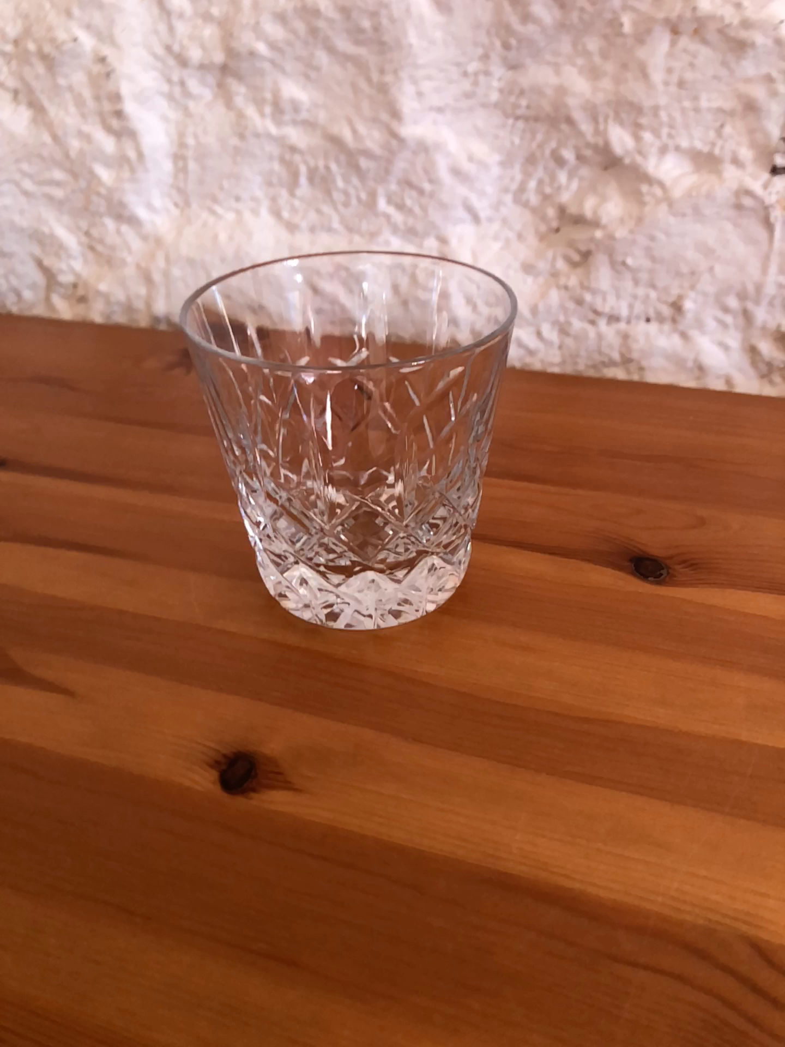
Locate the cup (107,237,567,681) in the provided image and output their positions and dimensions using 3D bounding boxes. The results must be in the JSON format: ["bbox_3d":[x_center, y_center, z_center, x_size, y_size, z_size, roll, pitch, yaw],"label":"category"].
[{"bbox_3d":[-0.007,-0.021,0.214,0.077,0.068,0.077,-1,34,1],"label":"cup"}]
